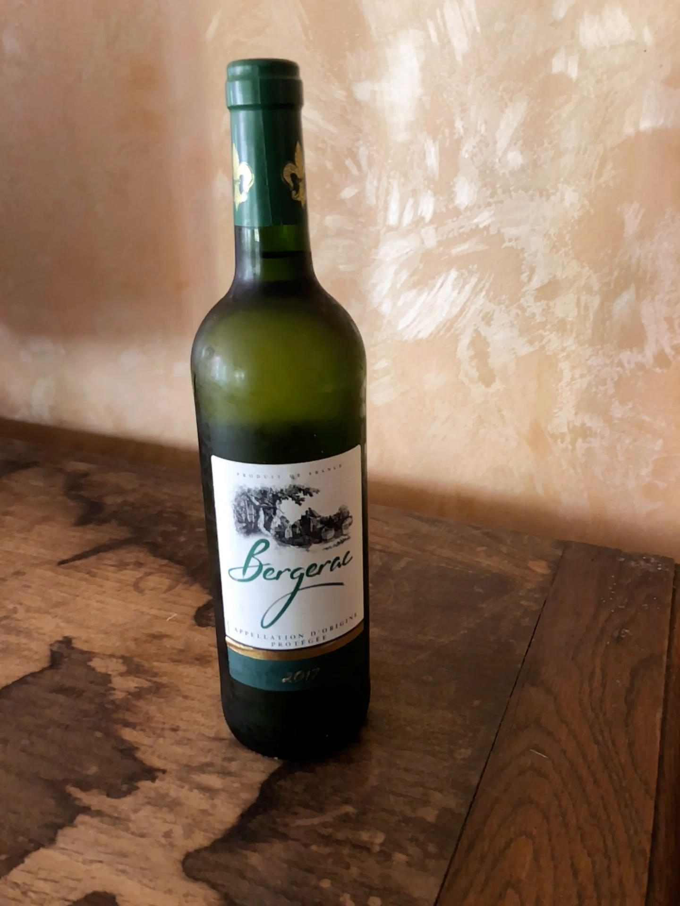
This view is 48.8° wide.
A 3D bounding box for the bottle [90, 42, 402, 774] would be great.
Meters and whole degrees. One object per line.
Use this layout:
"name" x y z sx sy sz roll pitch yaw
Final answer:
"bottle" -0.032 -0.011 0.309 0.090 0.269 0.090 0 21 0
